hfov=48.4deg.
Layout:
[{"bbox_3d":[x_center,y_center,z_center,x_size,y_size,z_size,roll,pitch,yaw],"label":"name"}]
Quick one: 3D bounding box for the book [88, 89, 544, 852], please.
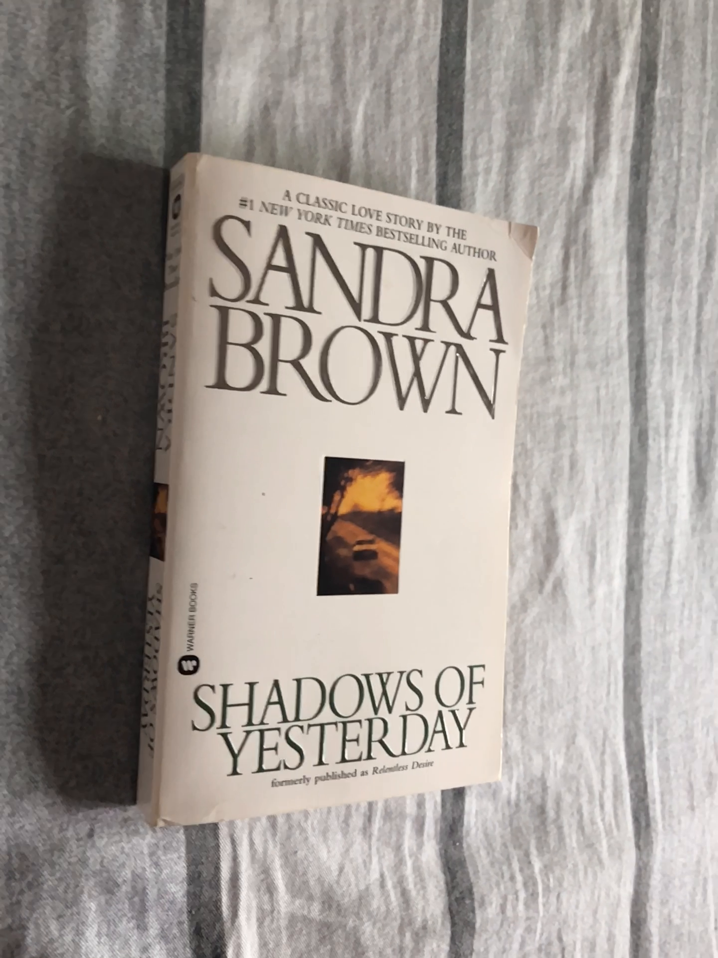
[{"bbox_3d":[-0.007,0.001,0.233,0.120,0.030,0.180,4,90,-32],"label":"book"}]
